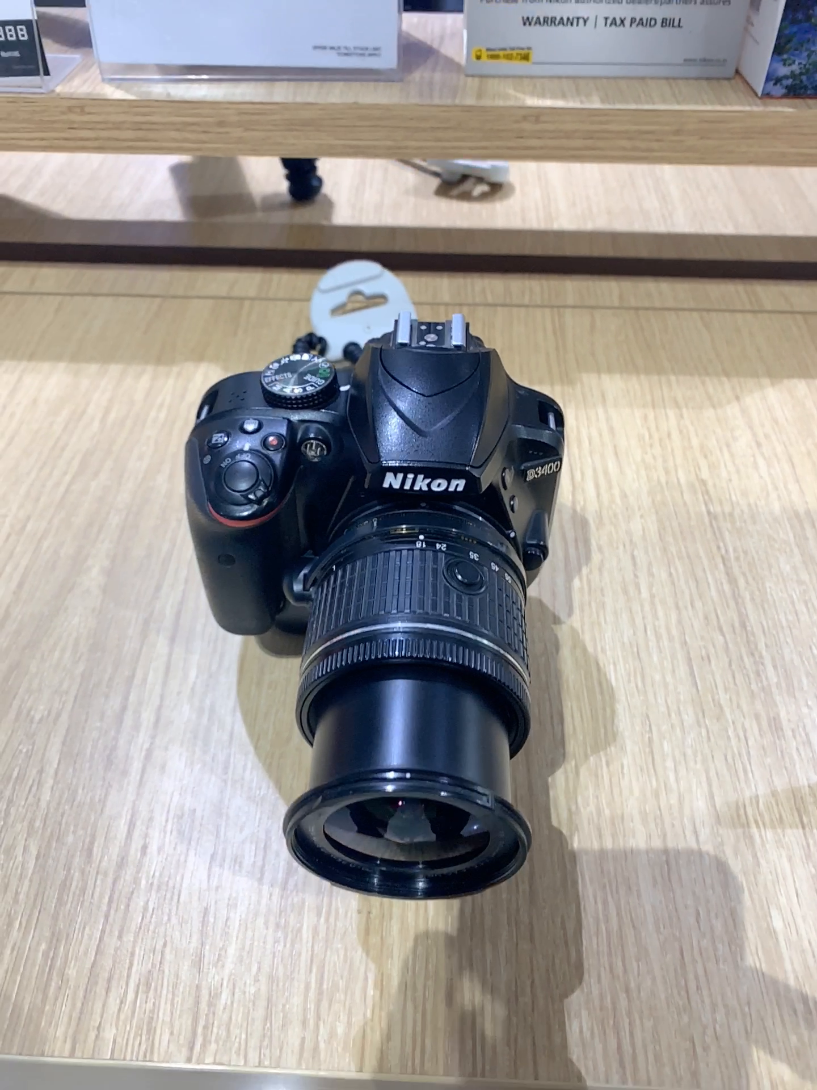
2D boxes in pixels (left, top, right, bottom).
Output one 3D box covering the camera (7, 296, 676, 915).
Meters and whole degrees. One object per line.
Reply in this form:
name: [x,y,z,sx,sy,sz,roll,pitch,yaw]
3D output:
camera: [-0.010,0.011,0.234,0.120,0.094,0.140,1,46,1]
